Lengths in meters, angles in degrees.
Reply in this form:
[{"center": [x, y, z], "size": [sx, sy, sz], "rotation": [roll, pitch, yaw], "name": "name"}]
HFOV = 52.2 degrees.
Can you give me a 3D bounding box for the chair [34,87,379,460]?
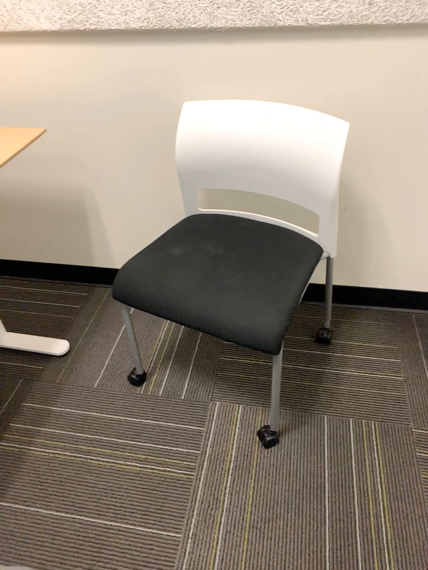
[{"center": [0.029, -0.055, 1.208], "size": [0.581, 0.735, 0.542], "rotation": [17, 45, 23], "name": "chair"}]
